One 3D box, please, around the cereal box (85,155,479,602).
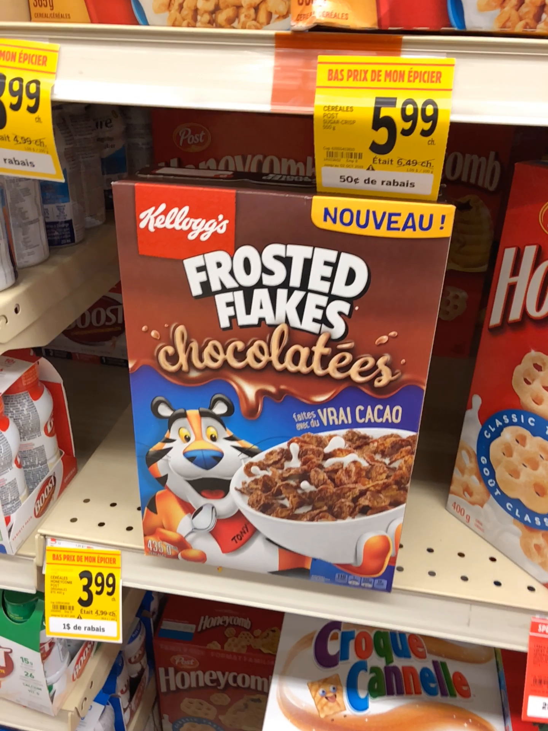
[{"bbox_3d":[0.001,0.015,0.411,0.210,0.278,0.071,7,27,9],"label":"cereal box"}]
